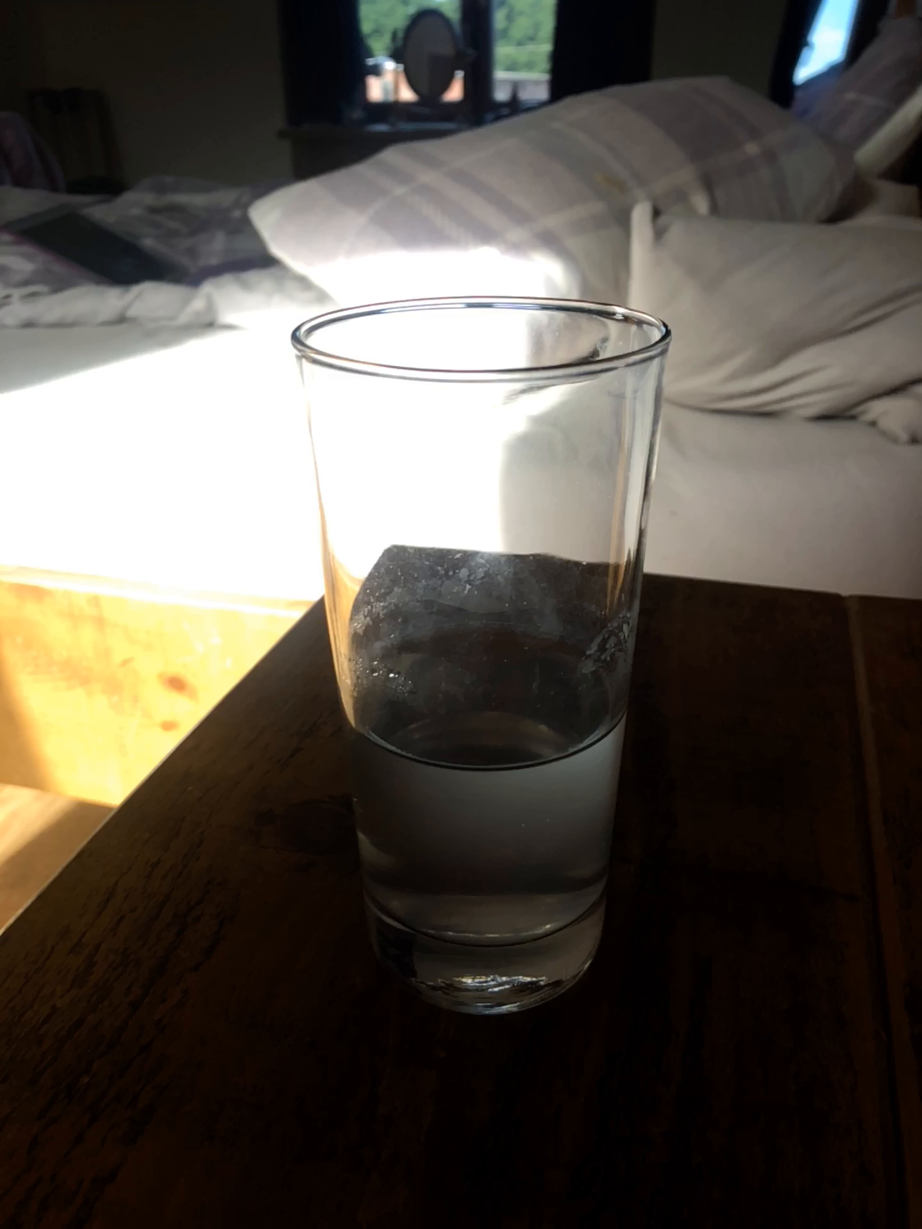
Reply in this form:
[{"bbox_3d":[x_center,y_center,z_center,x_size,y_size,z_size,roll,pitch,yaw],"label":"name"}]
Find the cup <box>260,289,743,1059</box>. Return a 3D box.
[{"bbox_3d":[0.010,0.012,0.230,0.077,0.152,0.074,-1,26,0],"label":"cup"}]
